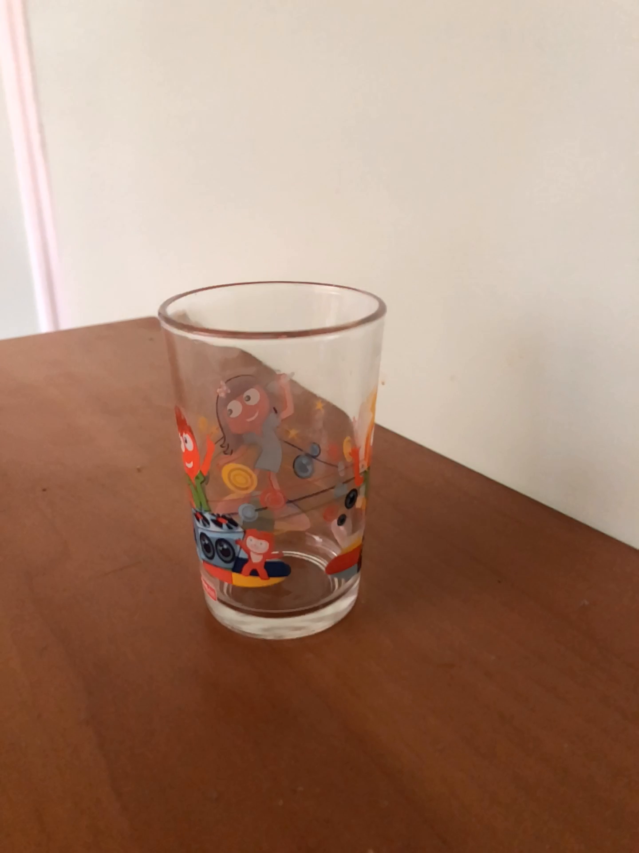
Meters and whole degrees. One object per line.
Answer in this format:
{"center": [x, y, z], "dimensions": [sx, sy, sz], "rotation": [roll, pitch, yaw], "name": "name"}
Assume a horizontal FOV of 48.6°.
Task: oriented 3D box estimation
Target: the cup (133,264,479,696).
{"center": [-0.004, 0.008, 0.221], "dimensions": [0.070, 0.099, 0.070], "rotation": [0, 22, 0], "name": "cup"}
